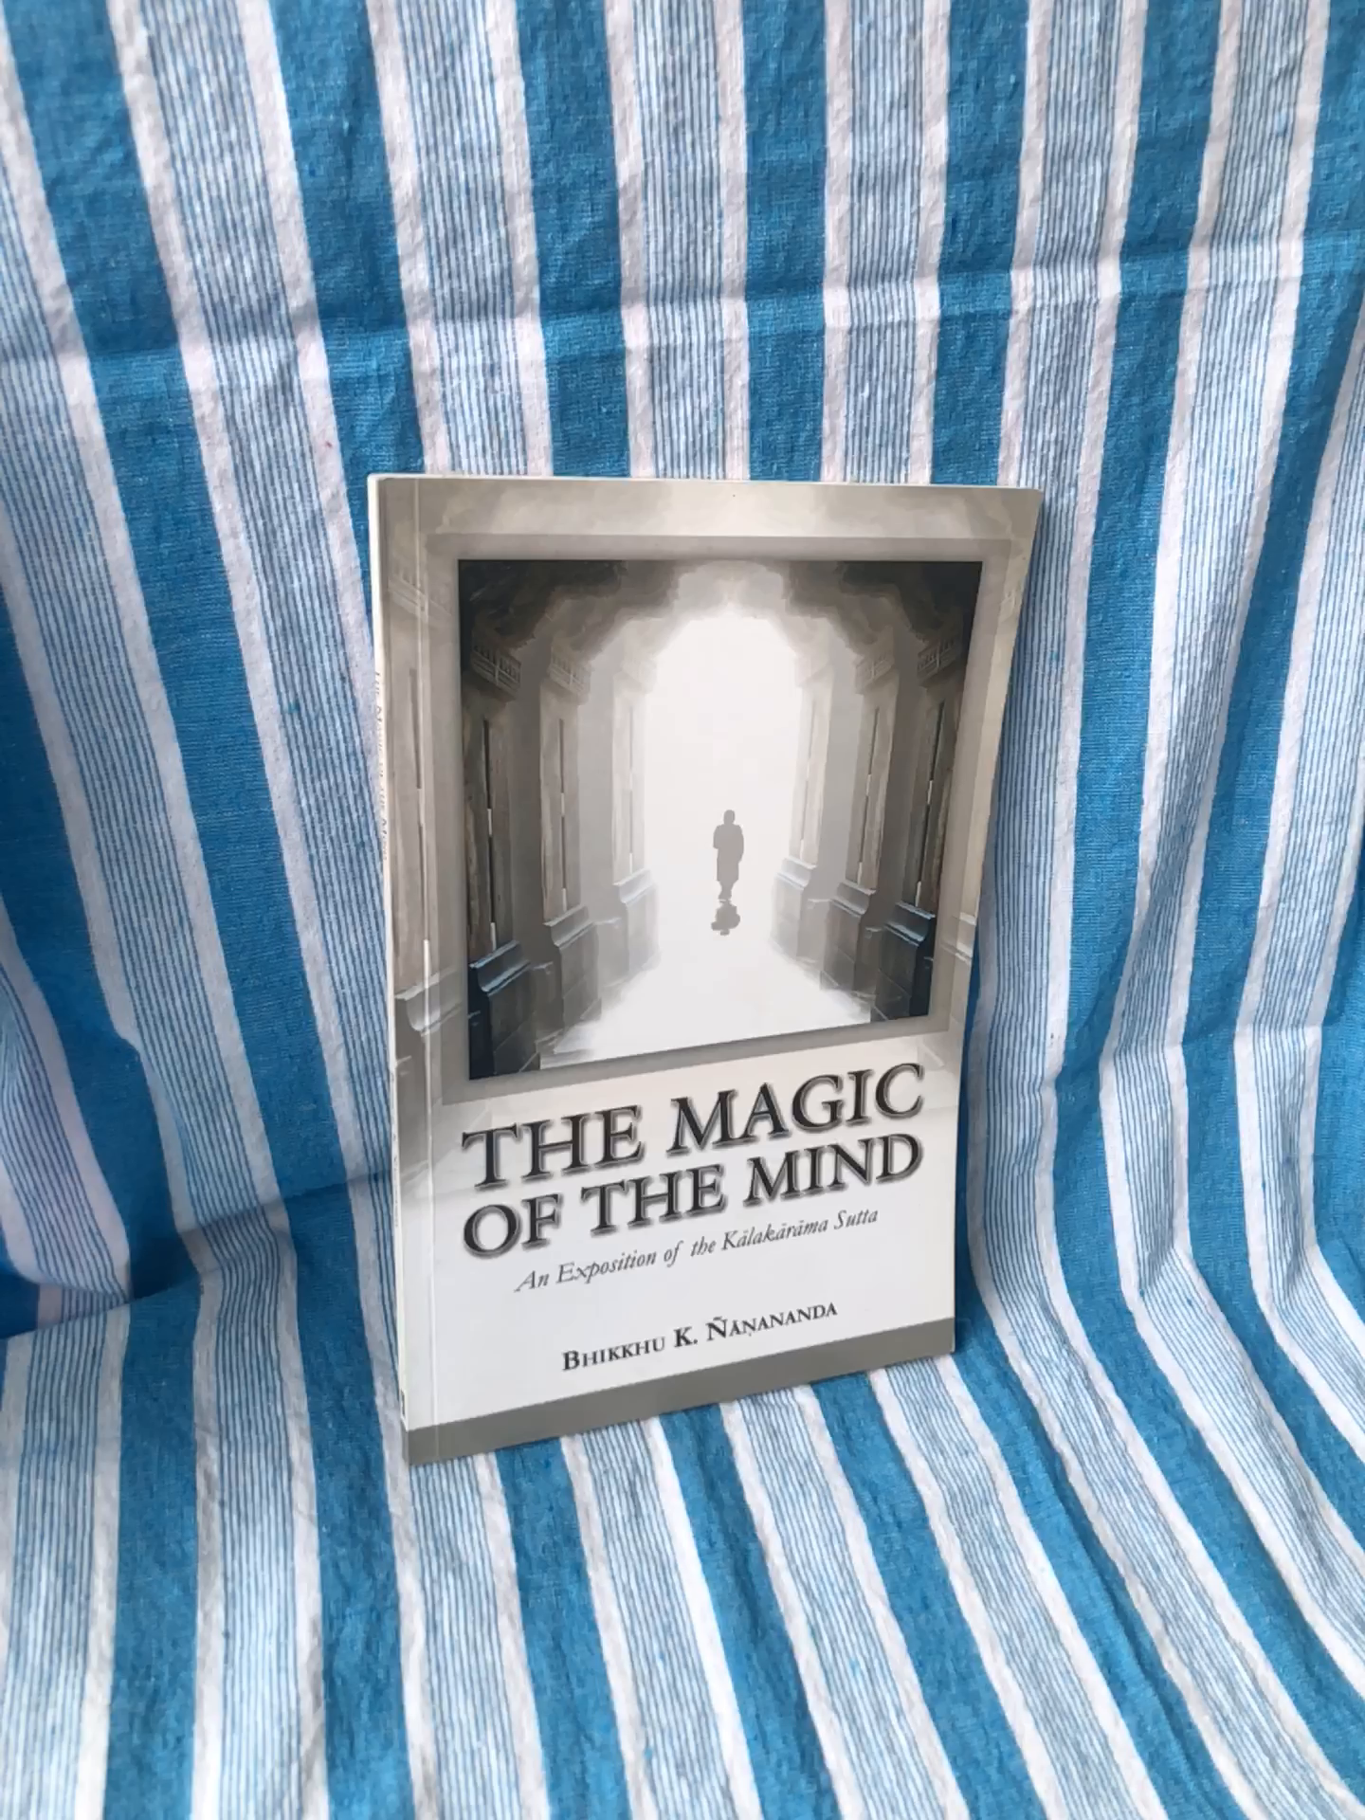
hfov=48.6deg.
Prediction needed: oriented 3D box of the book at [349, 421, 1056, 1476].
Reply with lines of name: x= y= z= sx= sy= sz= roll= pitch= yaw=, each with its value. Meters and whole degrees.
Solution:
book: x=0.007 y=0.010 z=0.333 sx=0.150 sy=0.219 sz=0.010 roll=-5 pitch=16 yaw=-21
